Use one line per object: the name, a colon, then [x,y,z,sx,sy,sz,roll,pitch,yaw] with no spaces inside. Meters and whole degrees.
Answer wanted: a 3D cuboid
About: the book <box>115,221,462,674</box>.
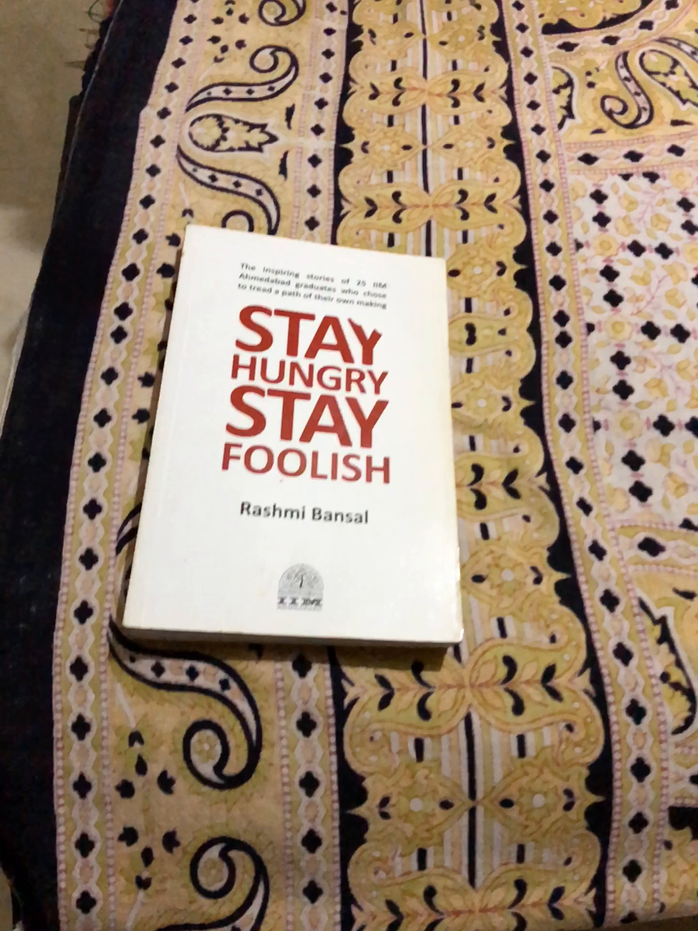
book: [-0.021,-0.015,0.376,0.140,0.040,0.211,6,64,-6]
